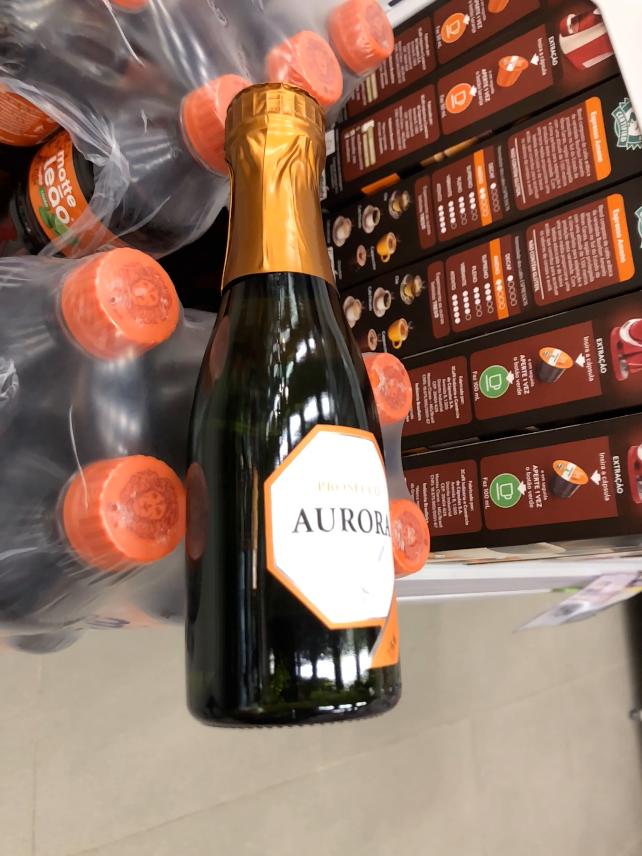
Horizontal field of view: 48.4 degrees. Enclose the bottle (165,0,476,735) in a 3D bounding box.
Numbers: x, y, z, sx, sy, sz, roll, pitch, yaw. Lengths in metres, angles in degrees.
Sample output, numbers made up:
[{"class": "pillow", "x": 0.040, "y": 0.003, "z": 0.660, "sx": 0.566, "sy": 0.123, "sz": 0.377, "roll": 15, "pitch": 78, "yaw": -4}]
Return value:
[{"class": "bottle", "x": 0.001, "y": -0.019, "z": 0.197, "sx": 0.060, "sy": 0.050, "sz": 0.180, "roll": 15, "pitch": 70, "yaw": -48}]
